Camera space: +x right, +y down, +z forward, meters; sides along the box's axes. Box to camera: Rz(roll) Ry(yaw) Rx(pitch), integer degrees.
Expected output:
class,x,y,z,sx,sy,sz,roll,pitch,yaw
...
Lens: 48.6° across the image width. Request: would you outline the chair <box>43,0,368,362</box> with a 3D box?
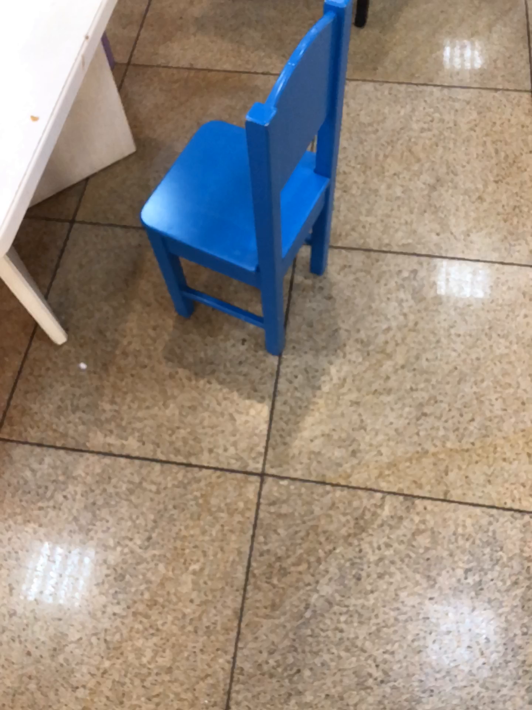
class,x,y,z,sx,sy,sz,roll,pitch,yaw
chair,-0.064,-0.306,1.069,0.330,0.649,0.290,24,68,13
